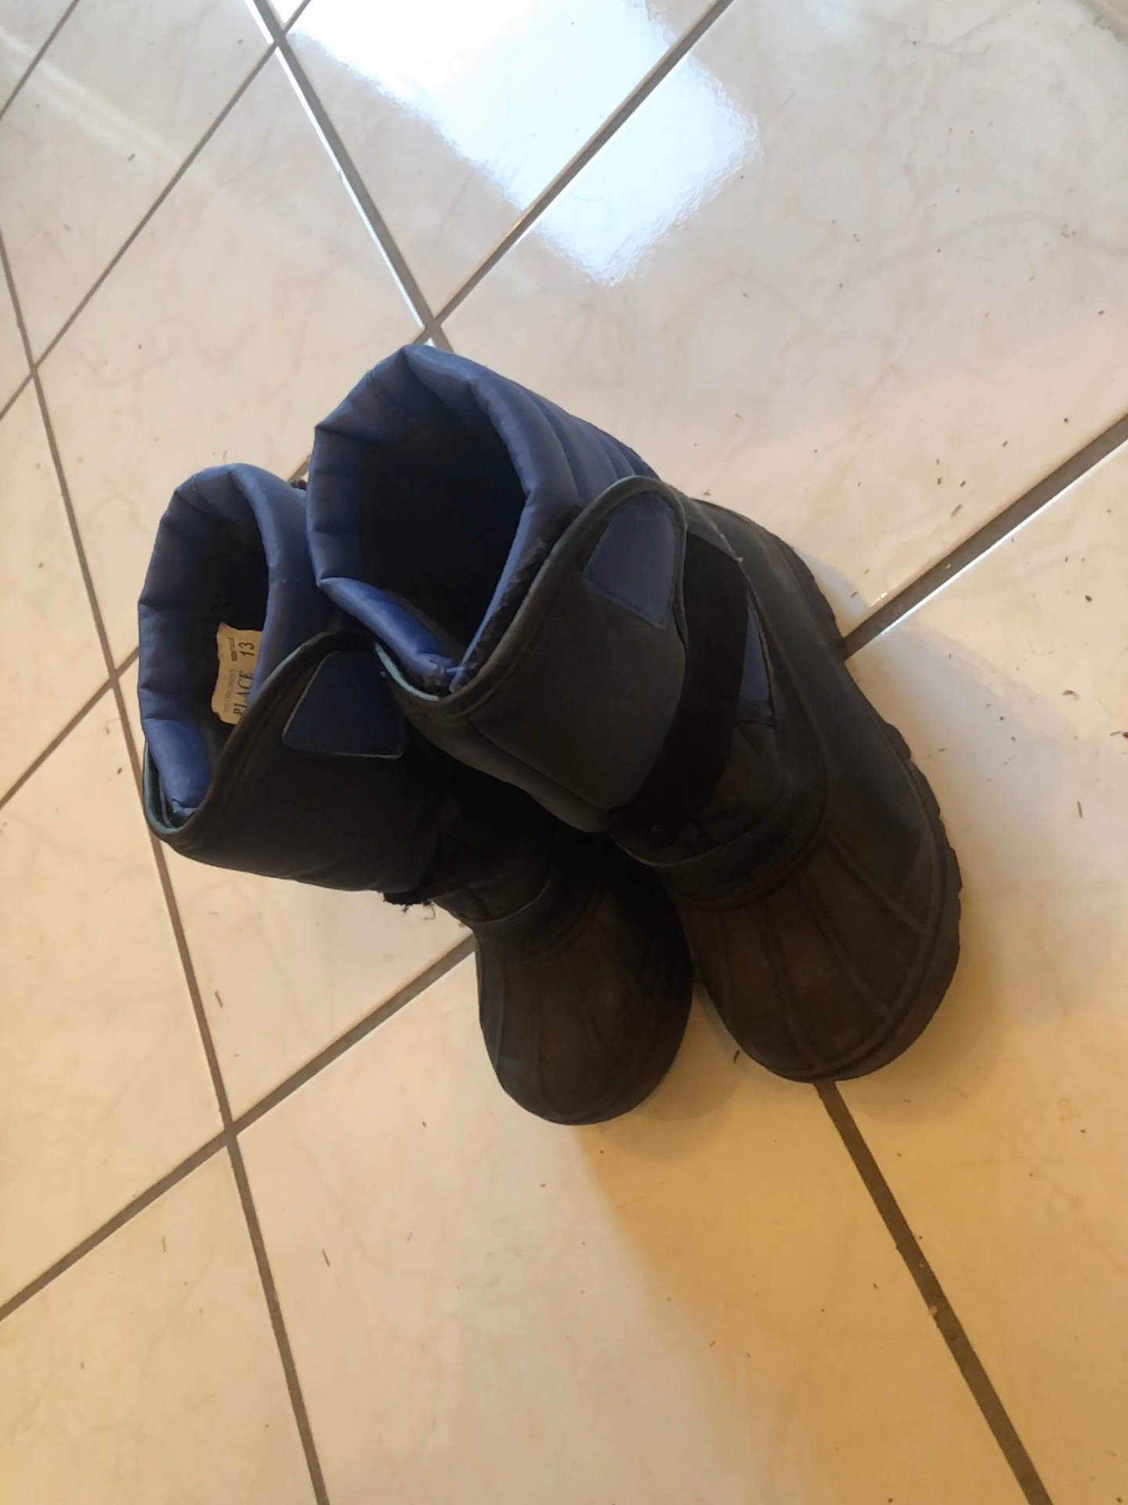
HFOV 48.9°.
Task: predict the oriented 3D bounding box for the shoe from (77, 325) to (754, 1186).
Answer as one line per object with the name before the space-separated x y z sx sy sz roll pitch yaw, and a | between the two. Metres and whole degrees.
shoe | -0.049 0.016 0.429 0.100 0.199 0.231 -22 66 33

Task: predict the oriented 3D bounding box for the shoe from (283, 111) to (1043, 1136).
shoe | 0.032 -0.021 0.391 0.100 0.199 0.251 -24 65 33
